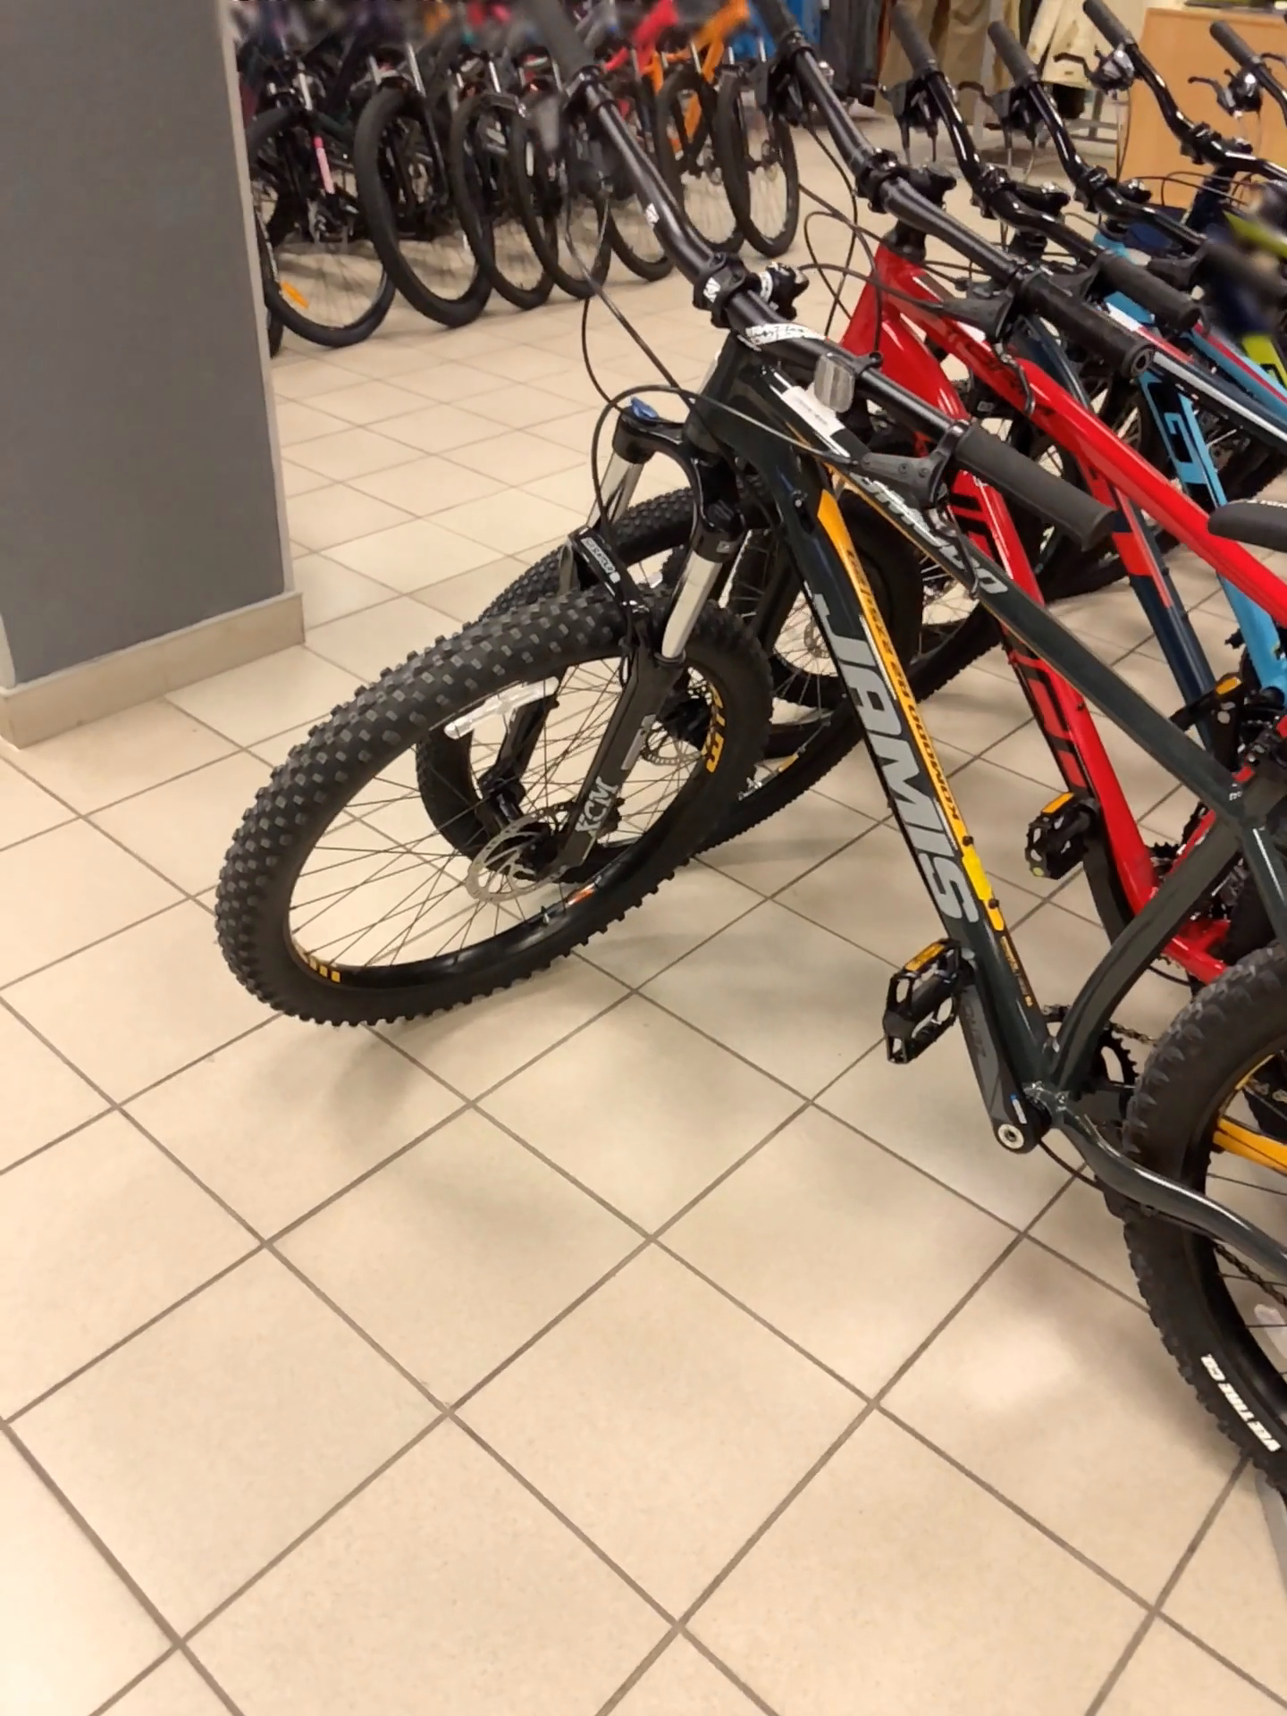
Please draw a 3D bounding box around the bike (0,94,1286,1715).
[{"bbox_3d":[0.300,0.111,1.128,1.543,1.166,0.811,19,37,25],"label":"bike"}]
